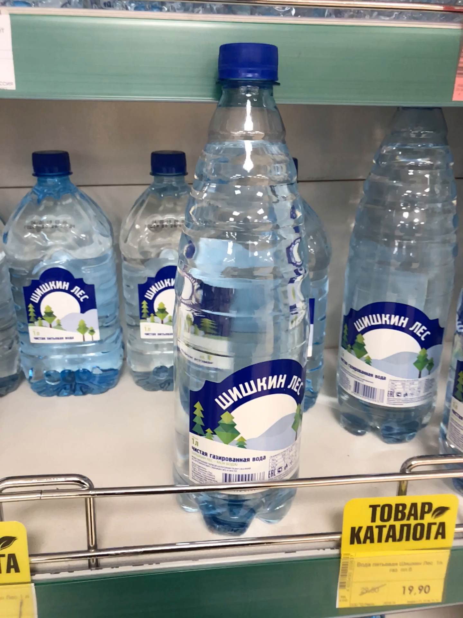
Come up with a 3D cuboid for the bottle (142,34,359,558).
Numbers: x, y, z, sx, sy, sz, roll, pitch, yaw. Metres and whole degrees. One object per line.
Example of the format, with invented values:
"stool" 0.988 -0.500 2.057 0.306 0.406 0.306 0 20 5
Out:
"bottle" 0.005 0.000 0.300 0.090 0.273 0.080 -5 20 -12
